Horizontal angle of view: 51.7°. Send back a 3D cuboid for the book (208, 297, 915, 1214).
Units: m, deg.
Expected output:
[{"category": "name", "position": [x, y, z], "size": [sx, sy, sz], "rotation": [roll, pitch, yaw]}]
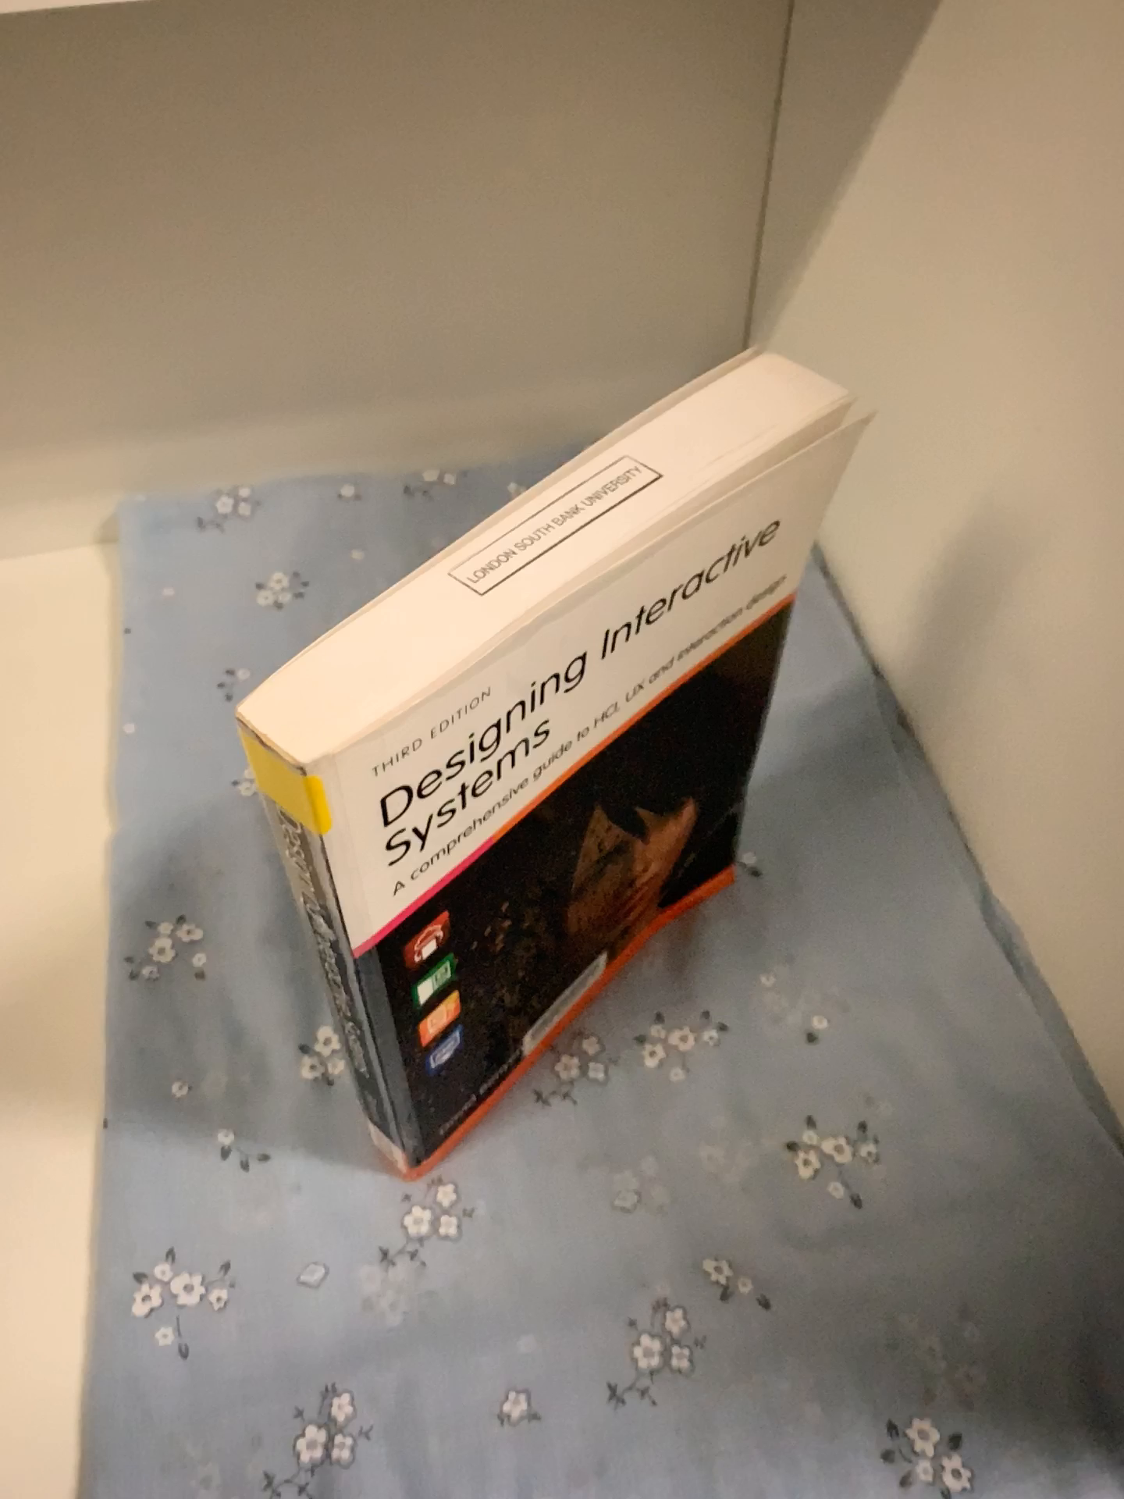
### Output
[{"category": "book", "position": [0.010, 0.020, 0.395], "size": [0.041, 0.270, 0.216], "rotation": [36, 59, 24]}]
